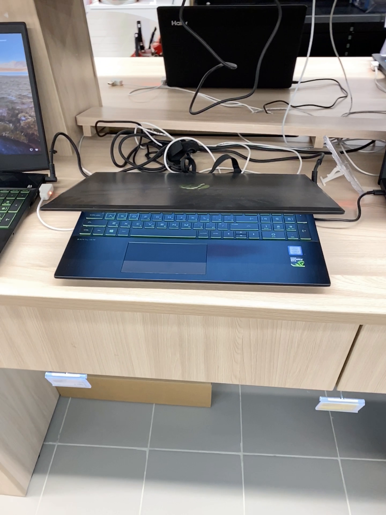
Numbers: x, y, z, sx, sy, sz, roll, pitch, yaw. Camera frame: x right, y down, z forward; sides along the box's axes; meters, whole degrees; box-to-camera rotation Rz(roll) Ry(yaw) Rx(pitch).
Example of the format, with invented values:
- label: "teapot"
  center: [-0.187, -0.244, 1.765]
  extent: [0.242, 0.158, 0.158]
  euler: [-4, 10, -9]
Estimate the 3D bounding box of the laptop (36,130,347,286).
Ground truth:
- label: "laptop"
  center: [0.003, -0.086, 0.576]
  extent: [0.361, 0.092, 0.243]
  euler: [2, 43, 2]
